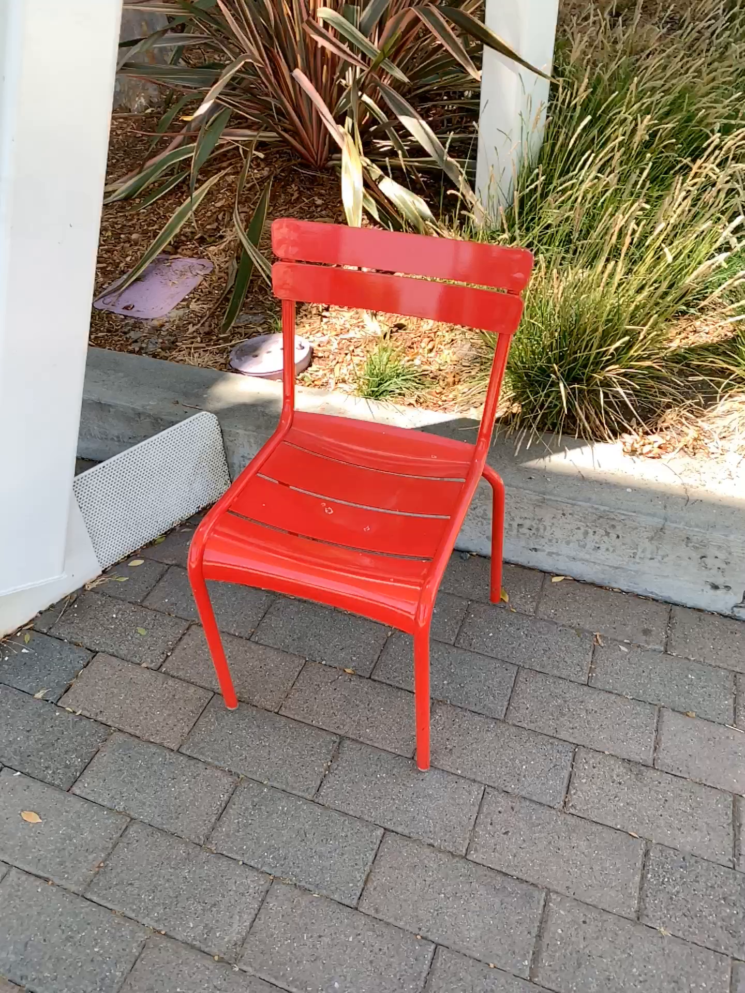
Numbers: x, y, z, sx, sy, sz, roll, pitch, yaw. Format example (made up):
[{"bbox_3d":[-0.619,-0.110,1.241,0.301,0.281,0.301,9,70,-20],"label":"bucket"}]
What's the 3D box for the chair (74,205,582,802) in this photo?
[{"bbox_3d":[-0.010,-0.012,1.412,0.581,0.785,0.633,12,41,16],"label":"chair"}]
